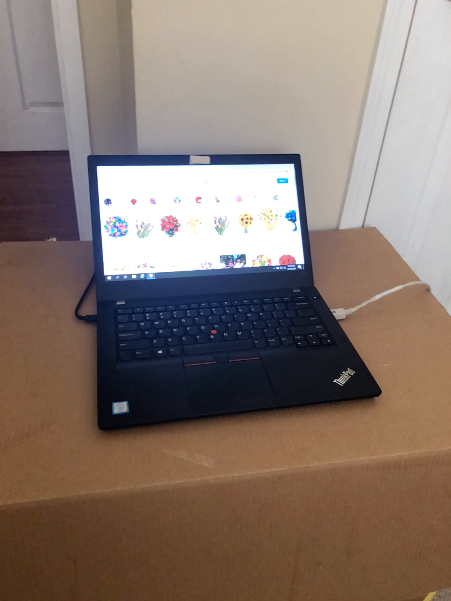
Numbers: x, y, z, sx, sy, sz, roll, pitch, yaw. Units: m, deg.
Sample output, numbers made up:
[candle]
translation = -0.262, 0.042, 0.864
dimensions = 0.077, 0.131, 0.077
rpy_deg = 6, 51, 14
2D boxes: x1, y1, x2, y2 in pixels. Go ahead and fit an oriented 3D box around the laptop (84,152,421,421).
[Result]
[laptop]
translation = -0.006, -0.055, 0.648
dimensions = 0.322, 0.158, 0.366
rpy_deg = -4, 35, -12
